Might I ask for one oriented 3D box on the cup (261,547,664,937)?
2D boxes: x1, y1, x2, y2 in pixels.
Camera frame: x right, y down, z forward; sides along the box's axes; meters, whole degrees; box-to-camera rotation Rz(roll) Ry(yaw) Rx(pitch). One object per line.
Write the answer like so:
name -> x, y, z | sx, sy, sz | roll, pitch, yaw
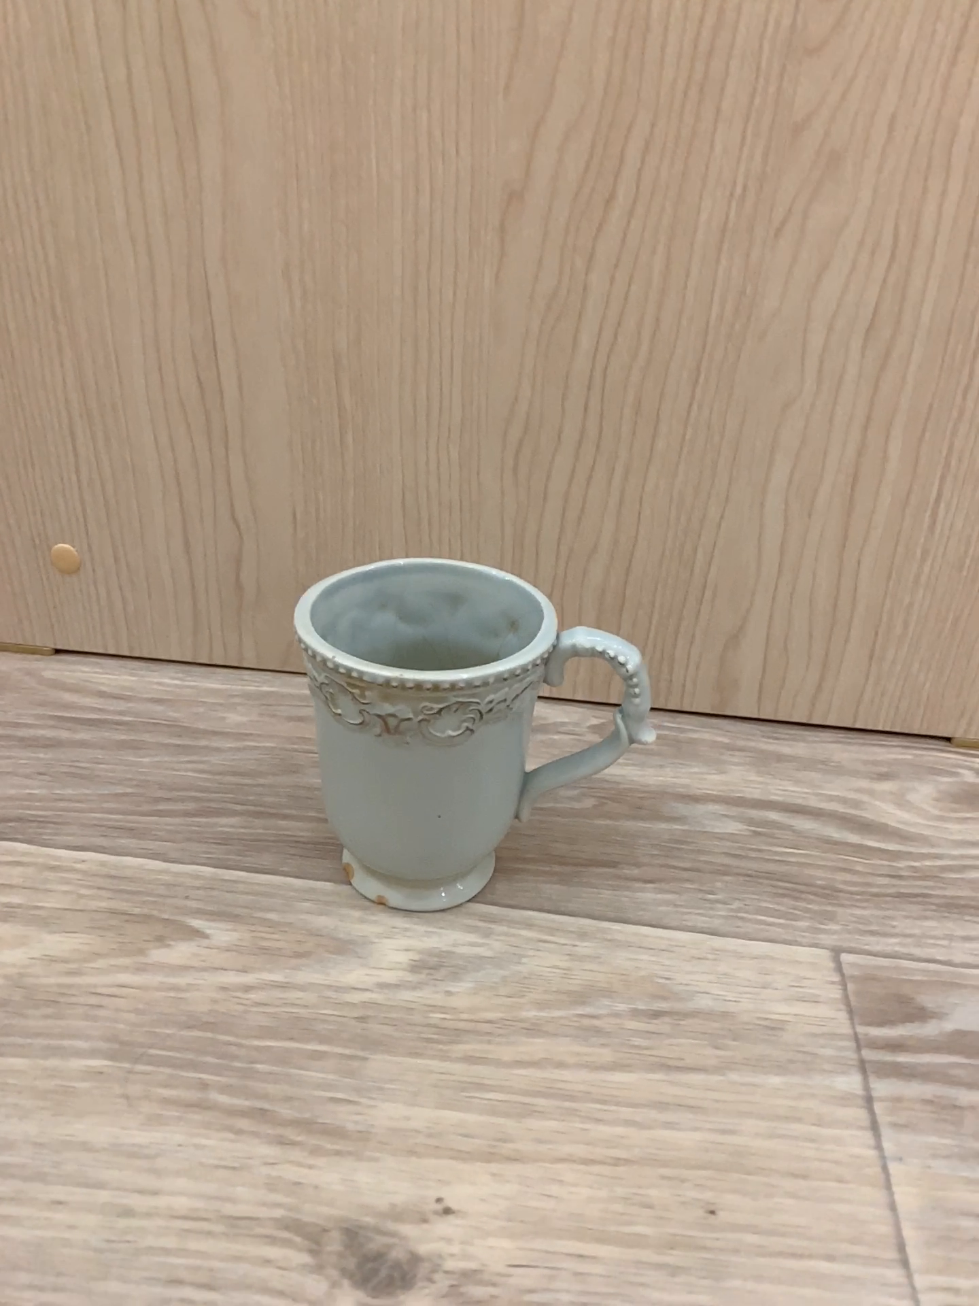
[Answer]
cup -> -0.010, 0.029, 0.356 | 0.118, 0.102, 0.083 | 3, 28, 0
